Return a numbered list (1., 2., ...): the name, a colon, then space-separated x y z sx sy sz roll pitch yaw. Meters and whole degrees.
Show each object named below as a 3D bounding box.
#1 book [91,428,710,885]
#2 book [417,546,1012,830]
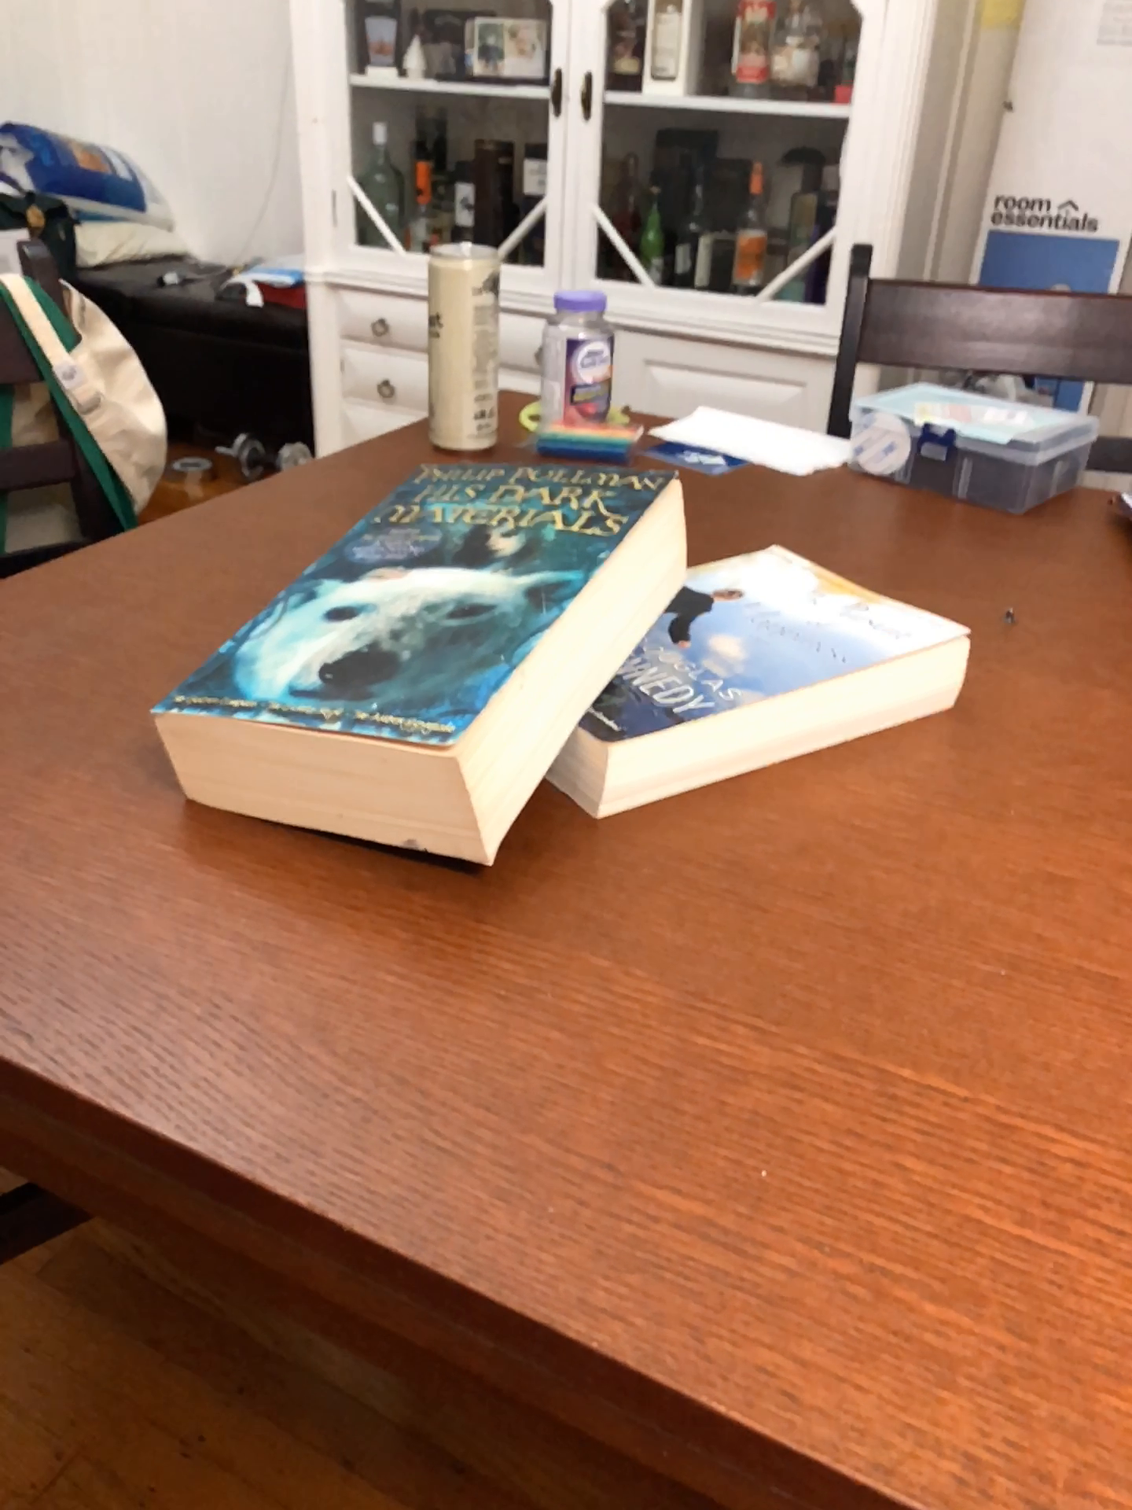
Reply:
1. book: -0.057 -0.062 0.557 0.170 0.060 0.241 10 42 23
2. book: 0.071 -0.046 0.629 0.240 0.040 0.171 -16 27 -25
